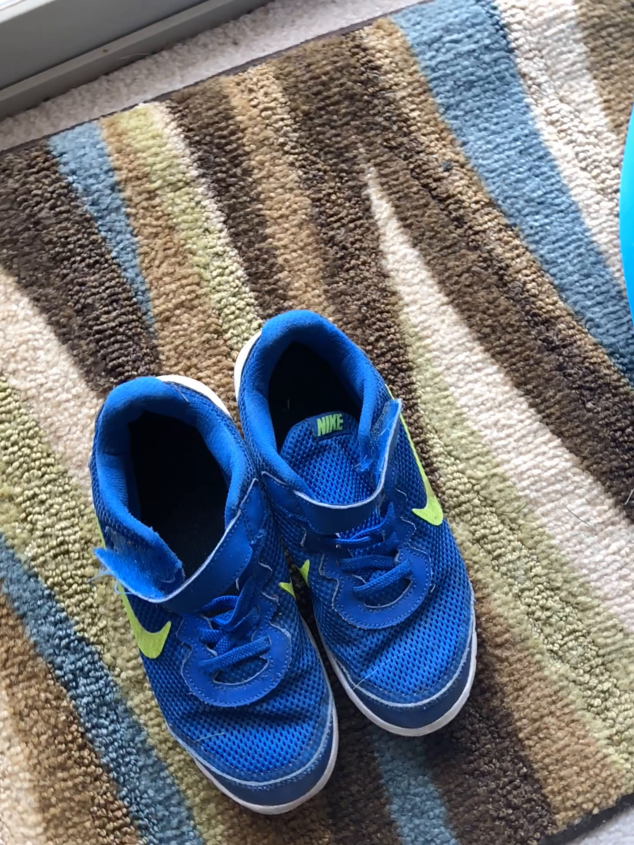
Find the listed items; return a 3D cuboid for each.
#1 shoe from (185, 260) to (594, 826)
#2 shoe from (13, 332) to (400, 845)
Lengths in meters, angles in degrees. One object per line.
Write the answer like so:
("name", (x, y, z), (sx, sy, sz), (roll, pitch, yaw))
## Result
("shoe", (0.028, 0.052, 0.354), (0.103, 0.075, 0.230), (-22, 82, -8))
("shoe", (-0.054, 0.089, 0.342), (0.102, 0.075, 0.233), (-18, 82, -7))
